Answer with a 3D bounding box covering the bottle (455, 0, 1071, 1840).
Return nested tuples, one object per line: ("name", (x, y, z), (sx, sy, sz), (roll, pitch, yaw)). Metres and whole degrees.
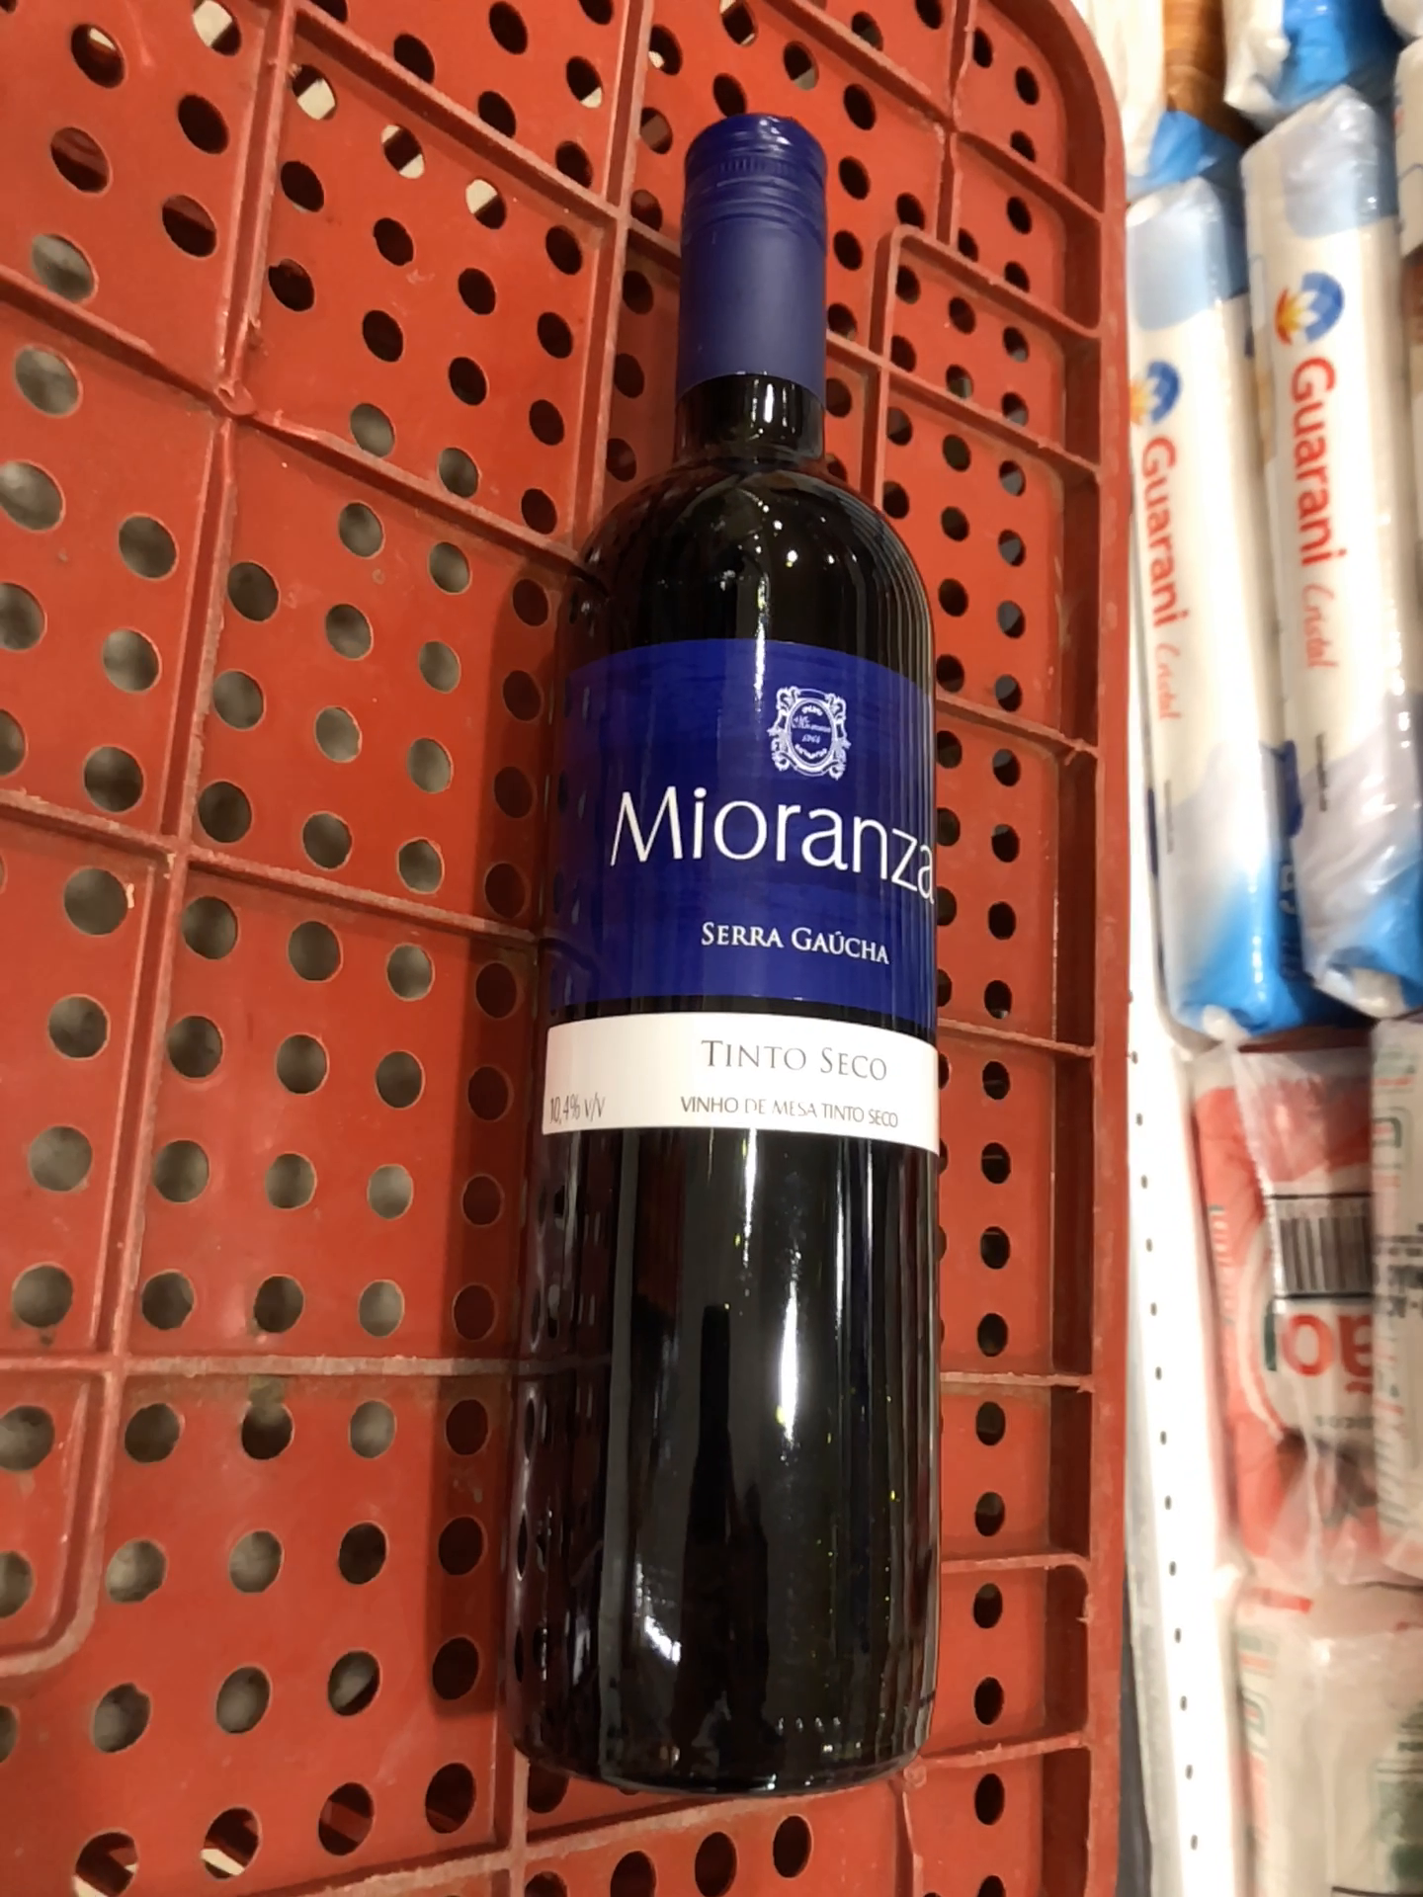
("bottle", (0.011, -0.020, 0.280), (0.080, 0.060, 0.300), (7, 77, -20))
